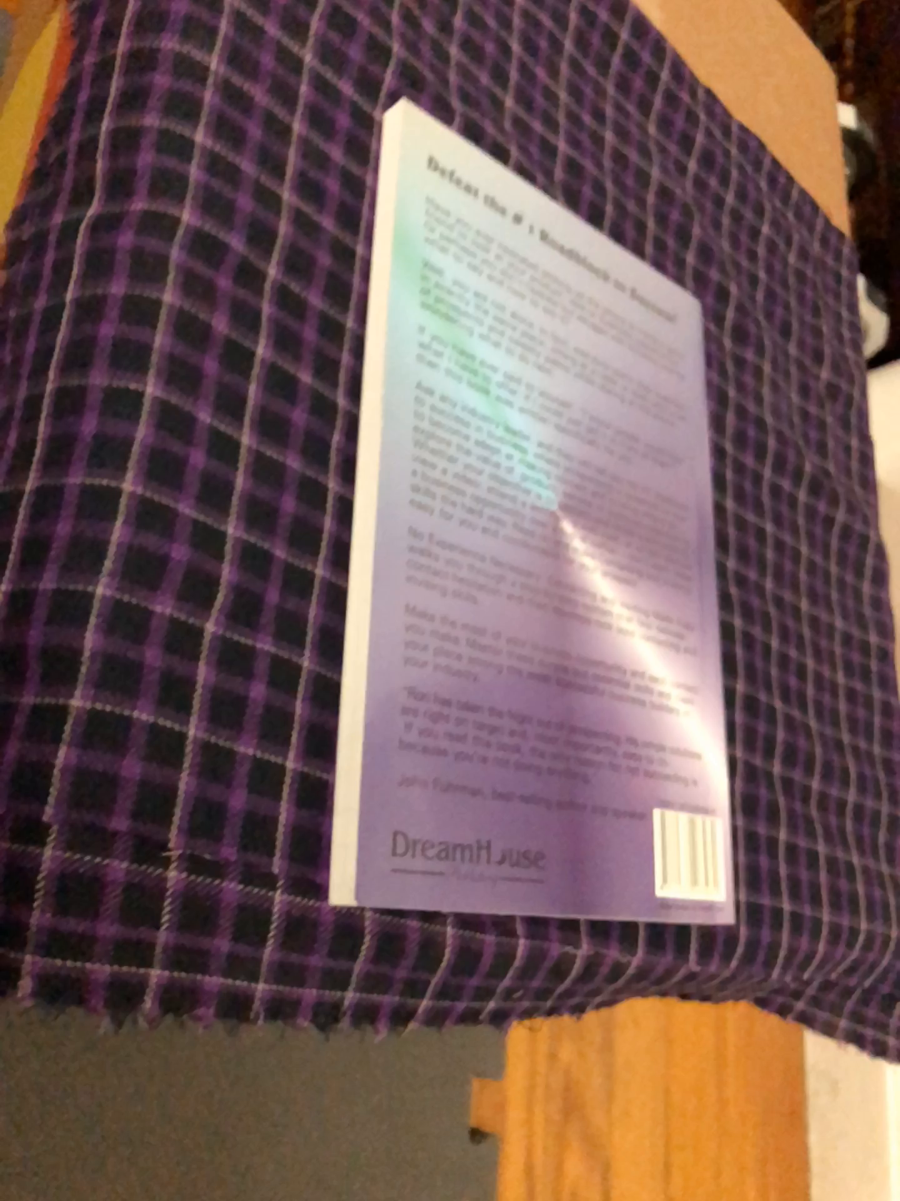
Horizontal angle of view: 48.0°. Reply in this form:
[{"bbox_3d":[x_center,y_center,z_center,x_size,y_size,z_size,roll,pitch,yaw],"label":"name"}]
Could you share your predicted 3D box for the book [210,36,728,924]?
[{"bbox_3d":[0.020,-0.024,0.291,0.161,0.020,0.220,17,67,-39],"label":"book"}]
